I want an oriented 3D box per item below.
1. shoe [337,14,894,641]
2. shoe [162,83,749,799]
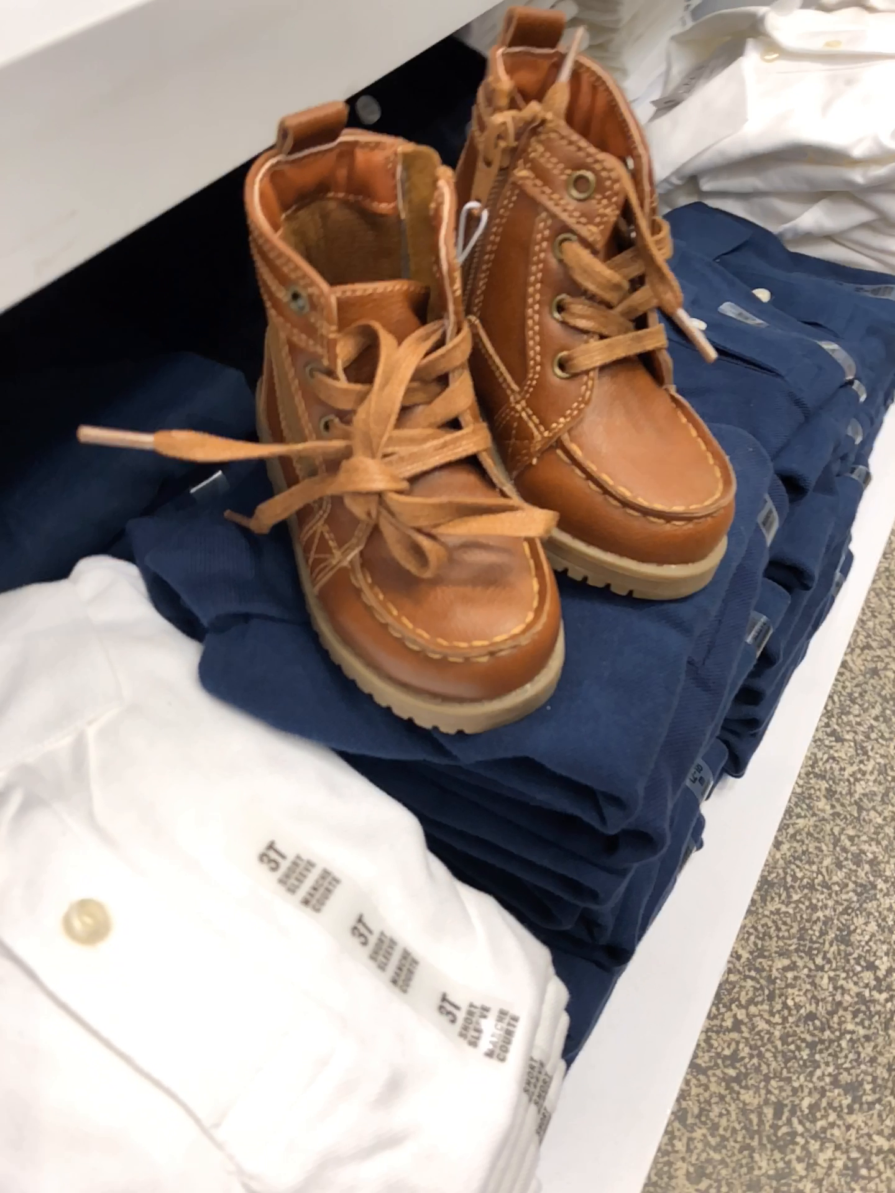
[{"bbox_3d":[0.044,-0.089,0.303,0.080,0.101,0.161,-21,57,-27],"label":"shoe"},{"bbox_3d":[-0.008,-0.046,0.268,0.080,0.101,0.151,-19,57,-15],"label":"shoe"}]
